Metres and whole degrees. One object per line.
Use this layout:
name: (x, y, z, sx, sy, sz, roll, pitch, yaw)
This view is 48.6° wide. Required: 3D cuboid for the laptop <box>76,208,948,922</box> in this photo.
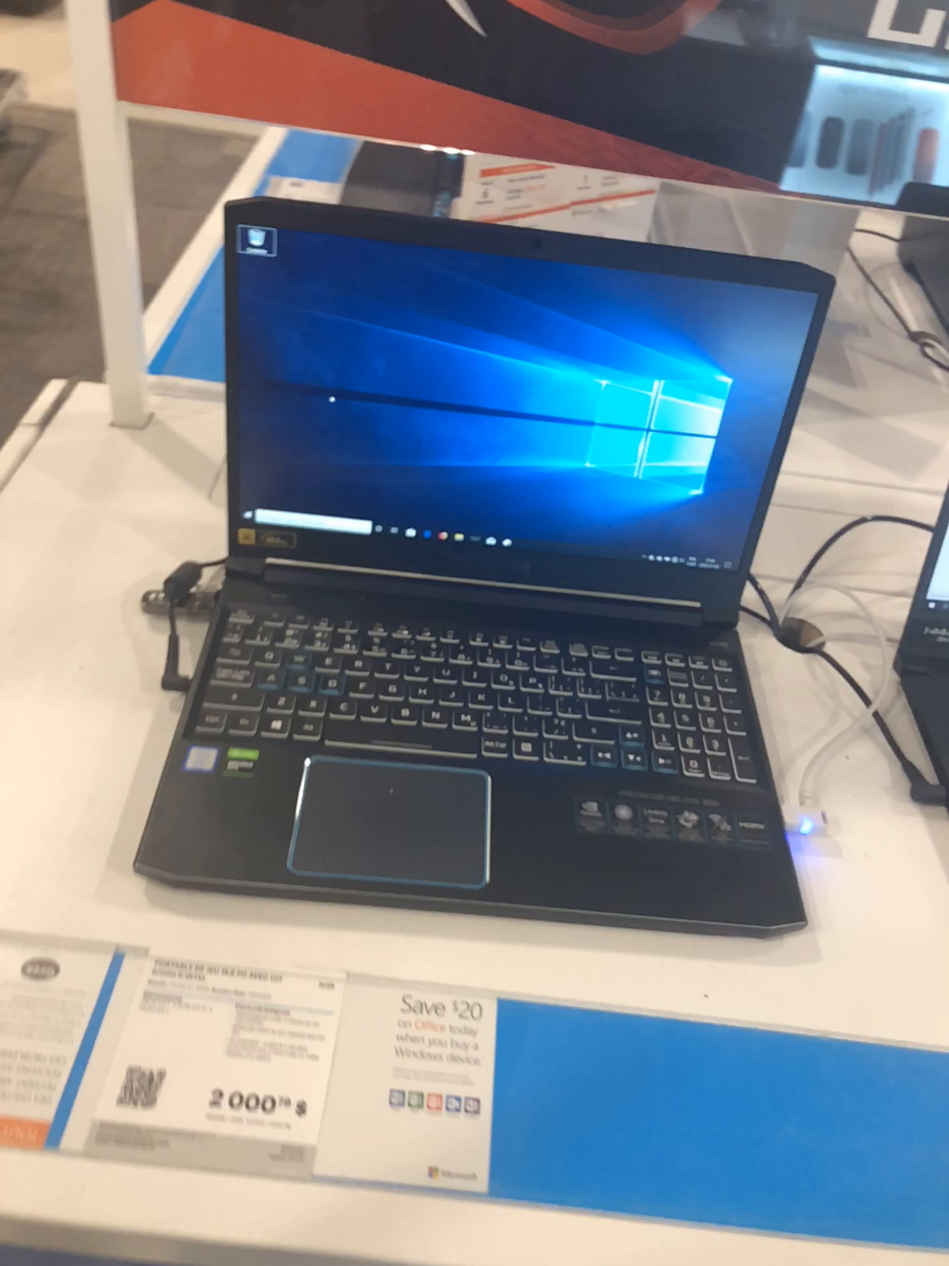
laptop: (0.019, -0.042, 0.570, 0.348, 0.230, 0.274, 6, 43, -2)
